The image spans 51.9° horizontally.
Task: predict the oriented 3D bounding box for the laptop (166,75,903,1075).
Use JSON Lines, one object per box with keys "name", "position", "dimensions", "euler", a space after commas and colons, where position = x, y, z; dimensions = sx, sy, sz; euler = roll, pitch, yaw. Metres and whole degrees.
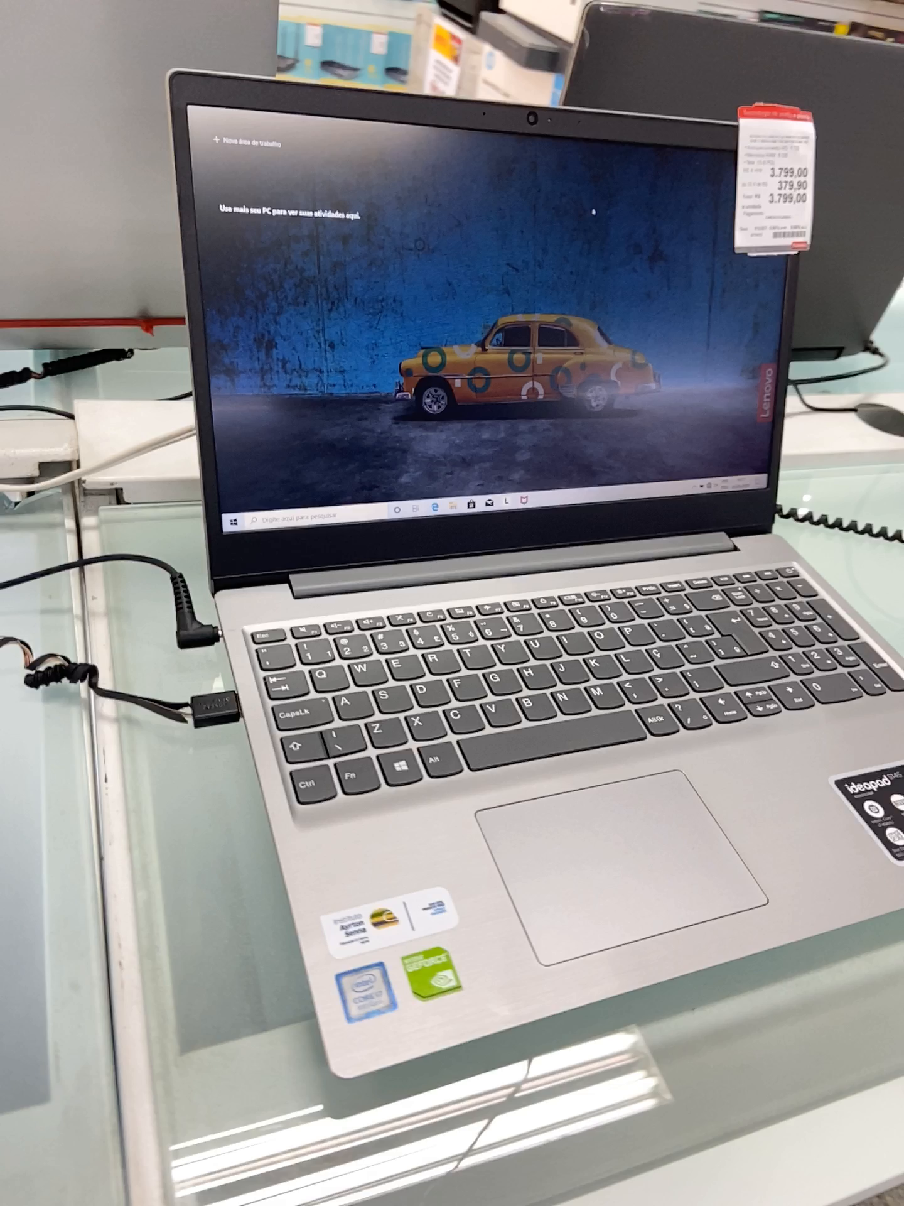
{"name": "laptop", "position": [0.085, -0.062, 0.427], "dimensions": [0.364, 0.213, 0.361], "euler": [-7, 42, -21]}
